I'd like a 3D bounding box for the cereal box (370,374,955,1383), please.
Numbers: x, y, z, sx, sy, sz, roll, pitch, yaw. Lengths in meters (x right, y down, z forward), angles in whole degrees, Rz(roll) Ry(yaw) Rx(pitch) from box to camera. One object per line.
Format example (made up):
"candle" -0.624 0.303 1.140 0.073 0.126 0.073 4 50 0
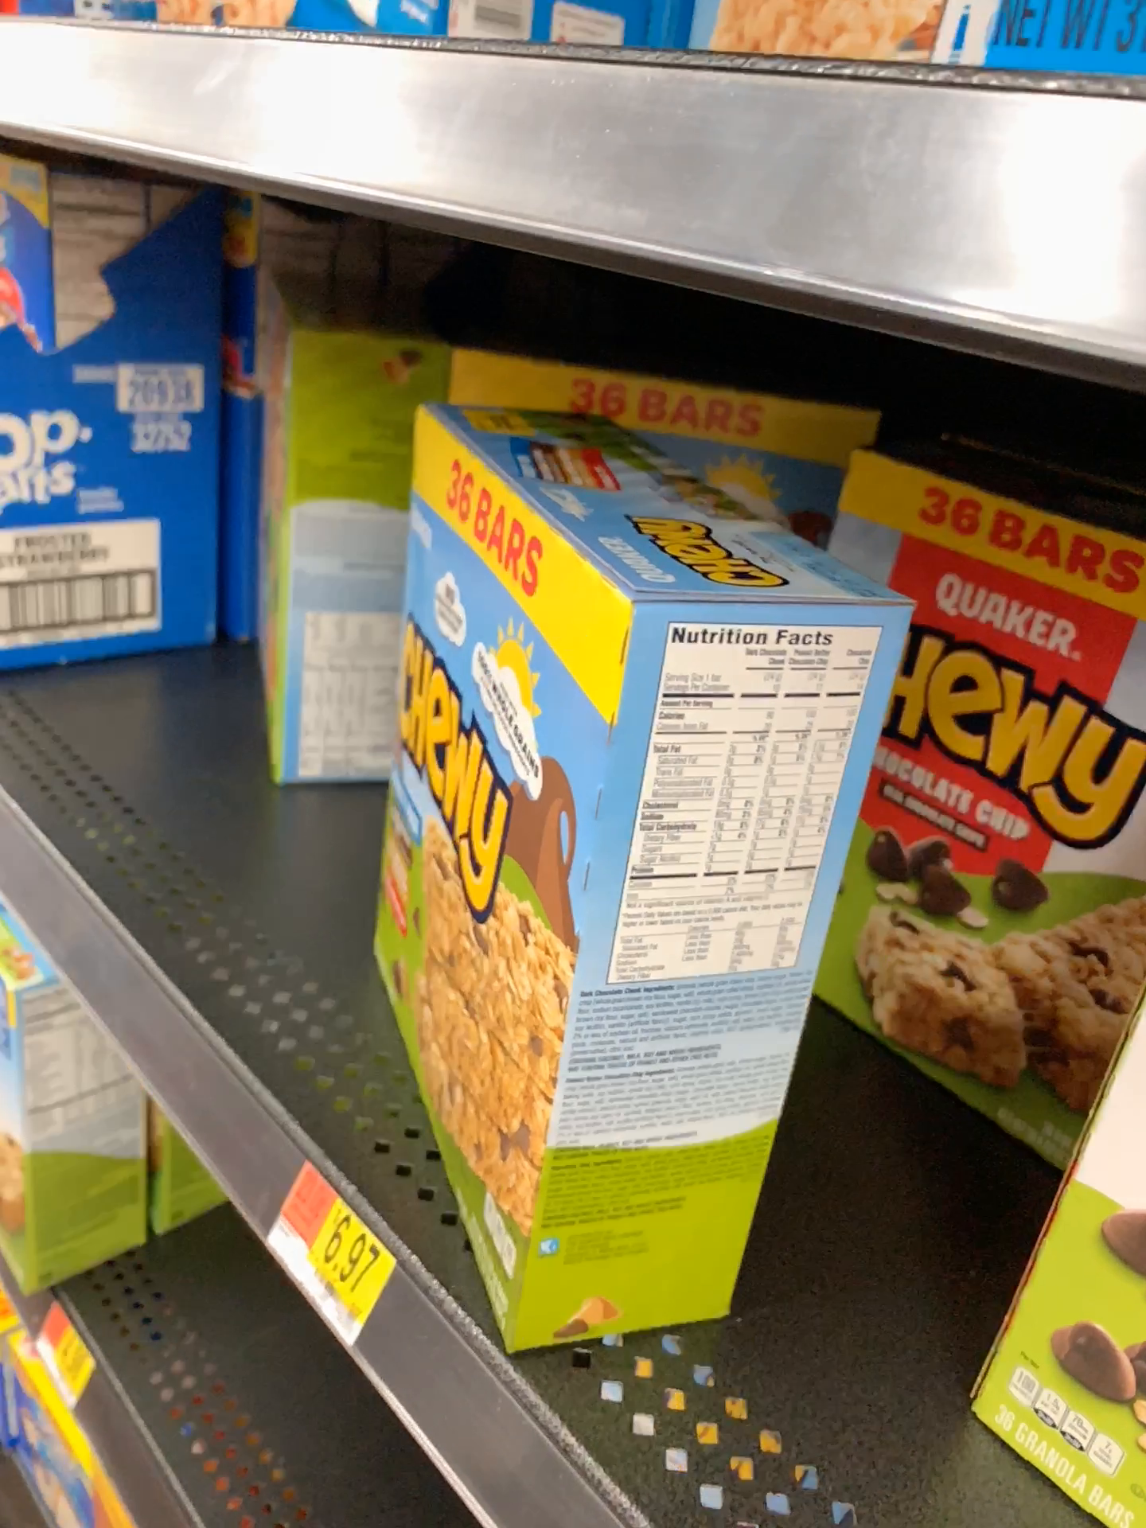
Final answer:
"cereal box" -0.001 0.019 0.372 0.070 0.229 0.201 -1 28 -21
